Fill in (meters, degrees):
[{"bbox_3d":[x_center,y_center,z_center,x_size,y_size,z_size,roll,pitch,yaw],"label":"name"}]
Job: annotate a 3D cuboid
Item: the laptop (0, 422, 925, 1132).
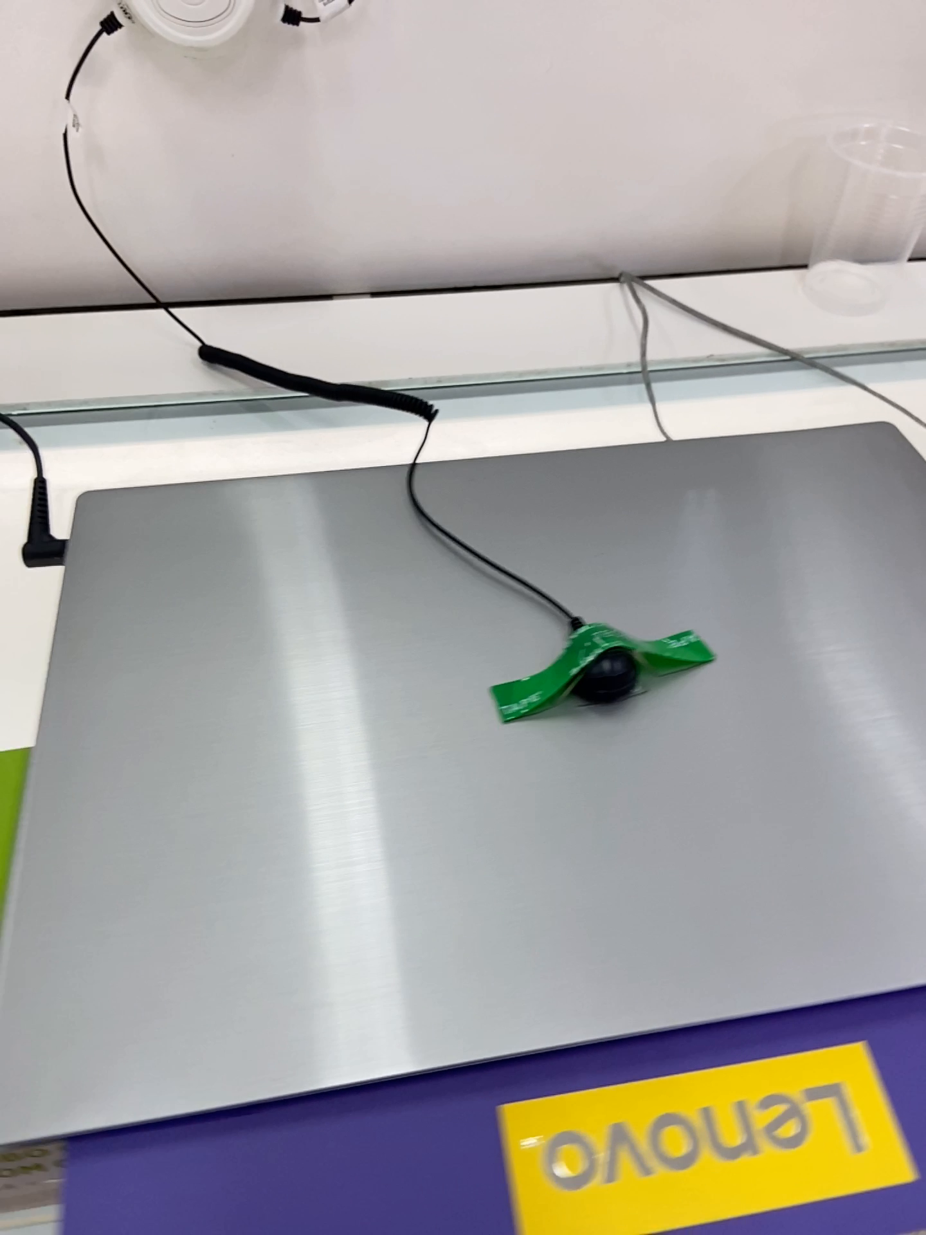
[{"bbox_3d":[0.038,0.020,0.341,0.362,0.001,0.241,-7,49,-7],"label":"laptop"}]
